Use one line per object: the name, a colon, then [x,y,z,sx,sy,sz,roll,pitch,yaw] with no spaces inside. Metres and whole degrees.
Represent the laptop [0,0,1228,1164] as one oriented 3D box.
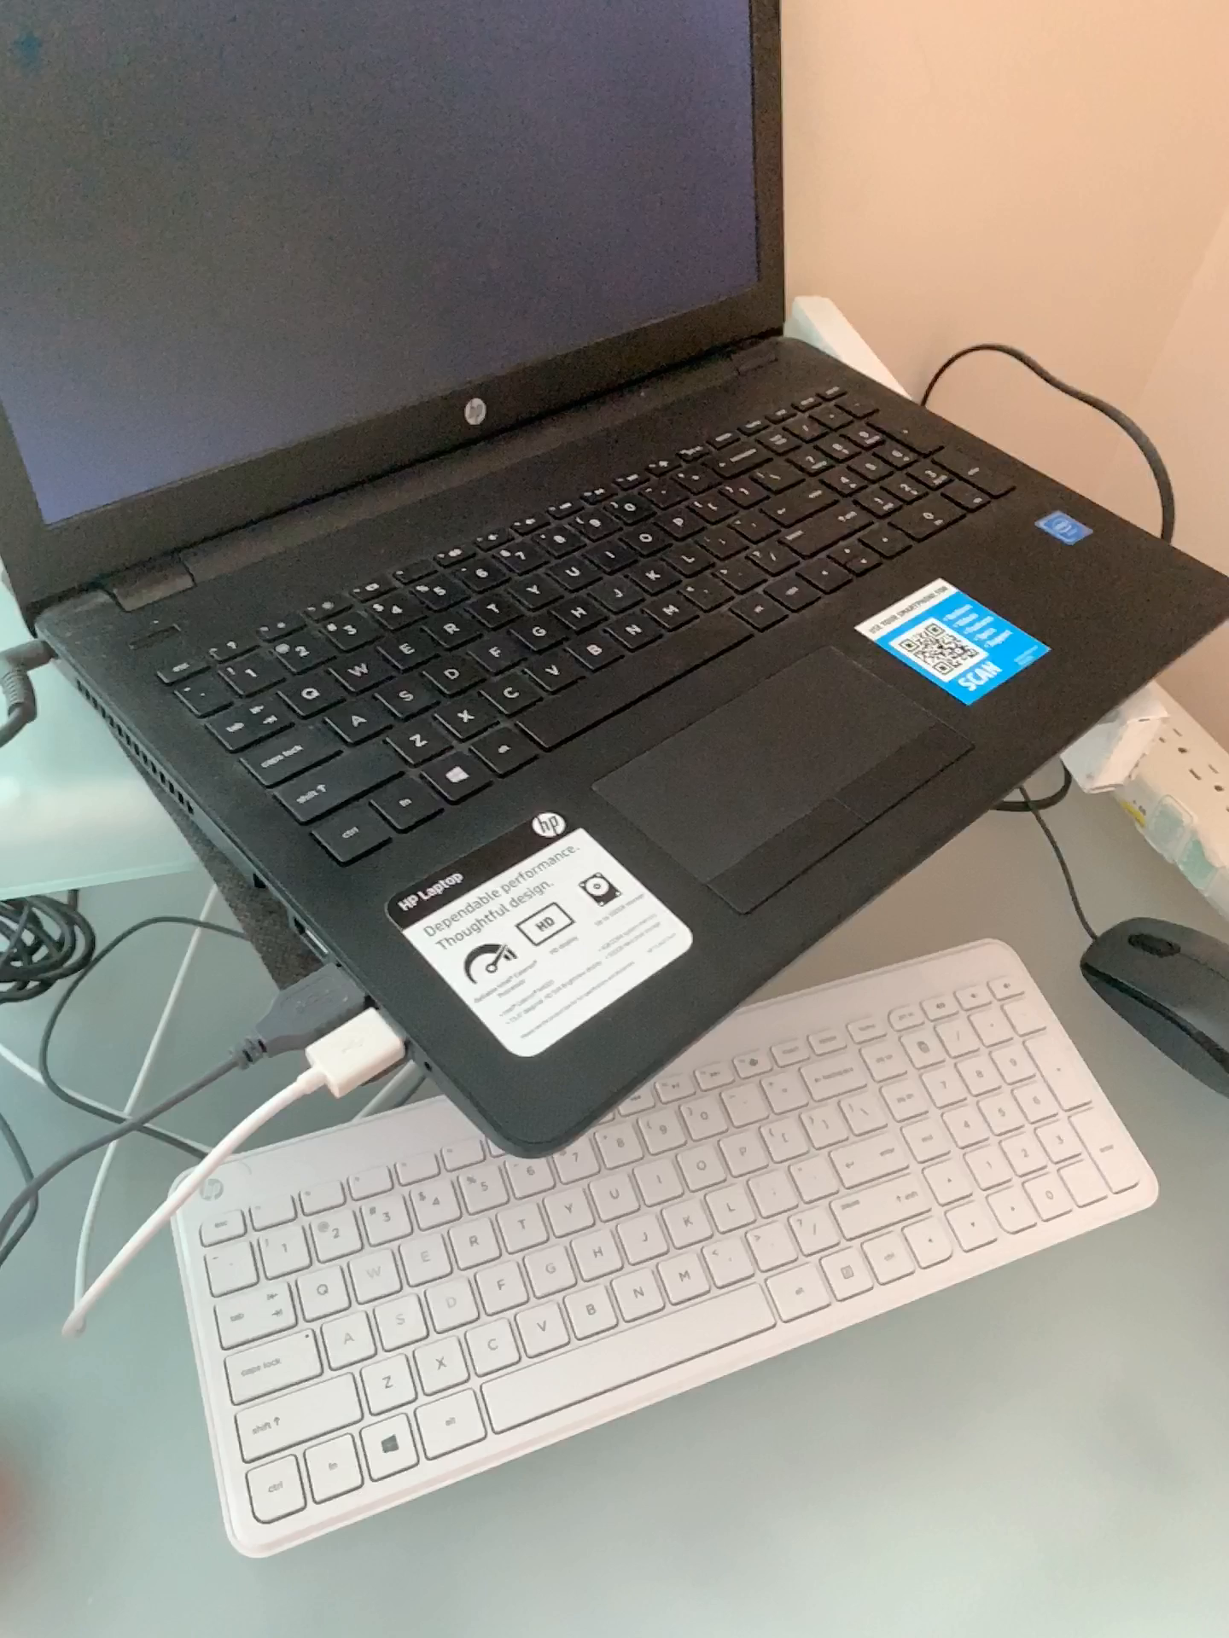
laptop: [0.019,-0.167,0.380,0.365,0.222,0.308,-32,58,-32]
